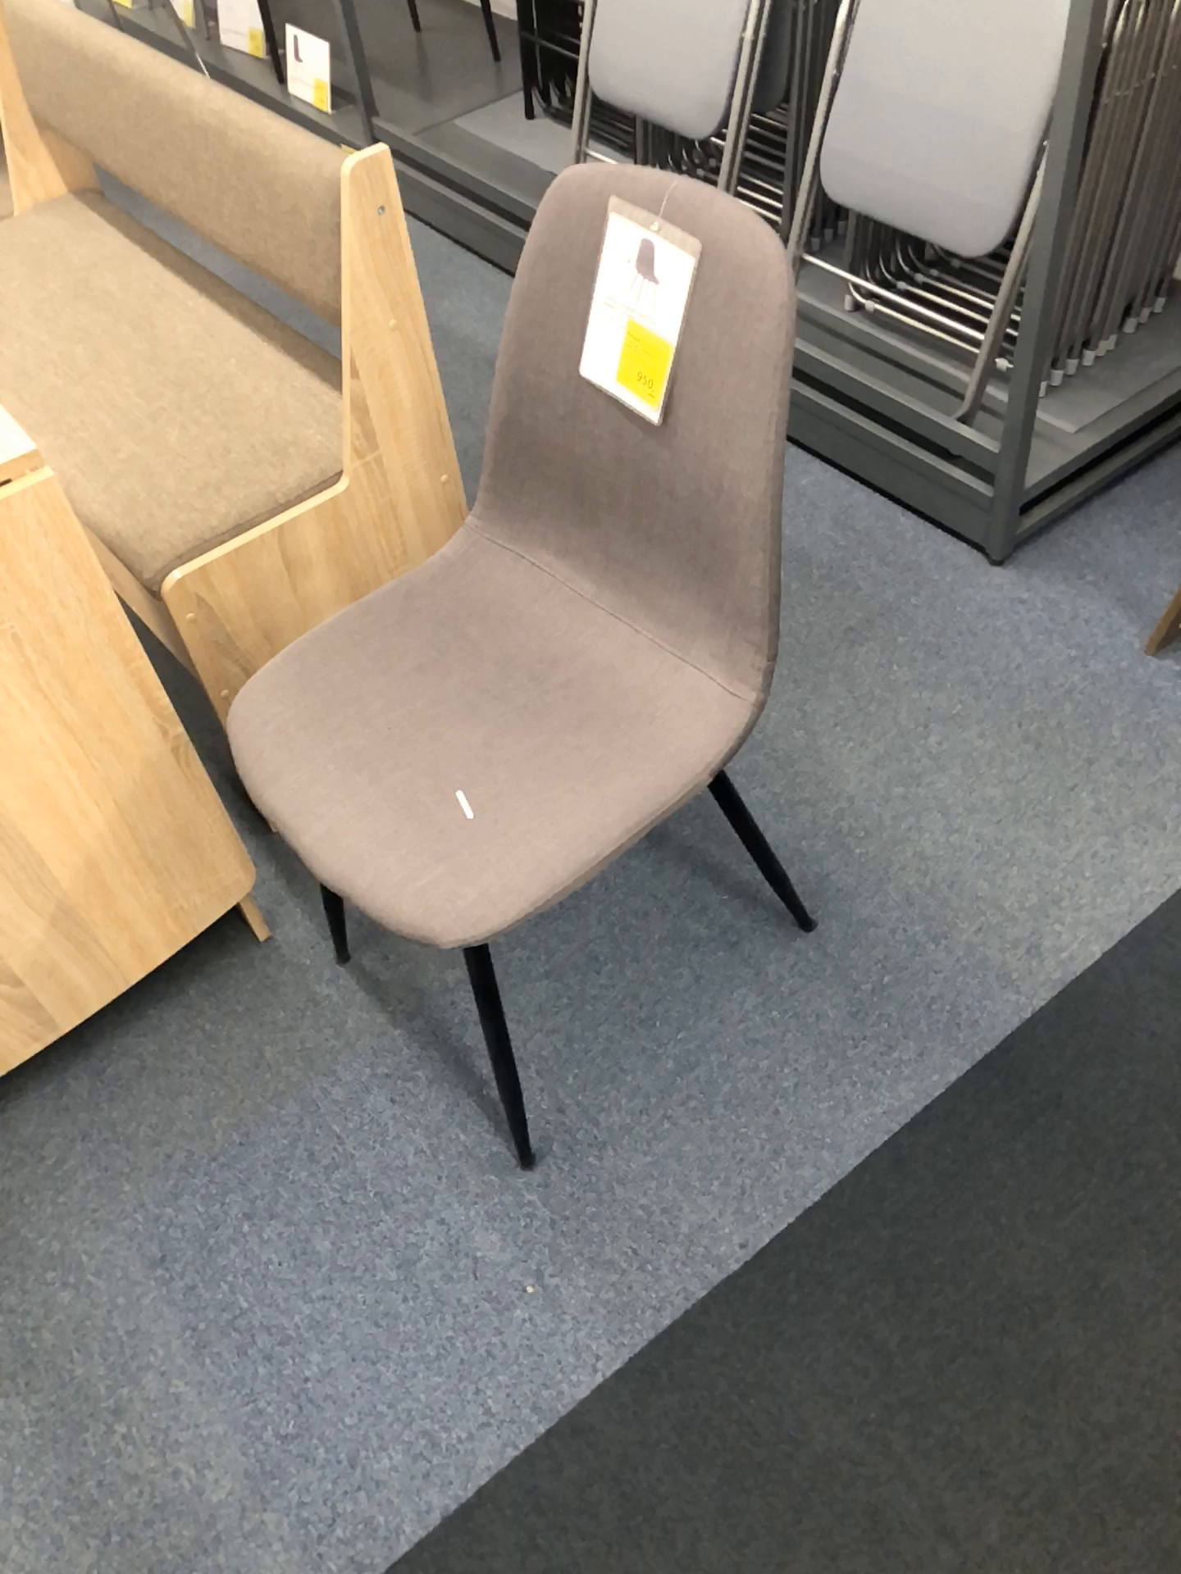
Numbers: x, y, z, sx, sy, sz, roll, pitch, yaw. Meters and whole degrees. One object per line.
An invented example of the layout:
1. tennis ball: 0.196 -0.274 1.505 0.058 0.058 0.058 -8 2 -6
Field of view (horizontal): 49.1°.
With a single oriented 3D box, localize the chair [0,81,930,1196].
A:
1. chair: -0.071 -0.114 1.264 0.541 0.807 0.481 -36 54 -21
